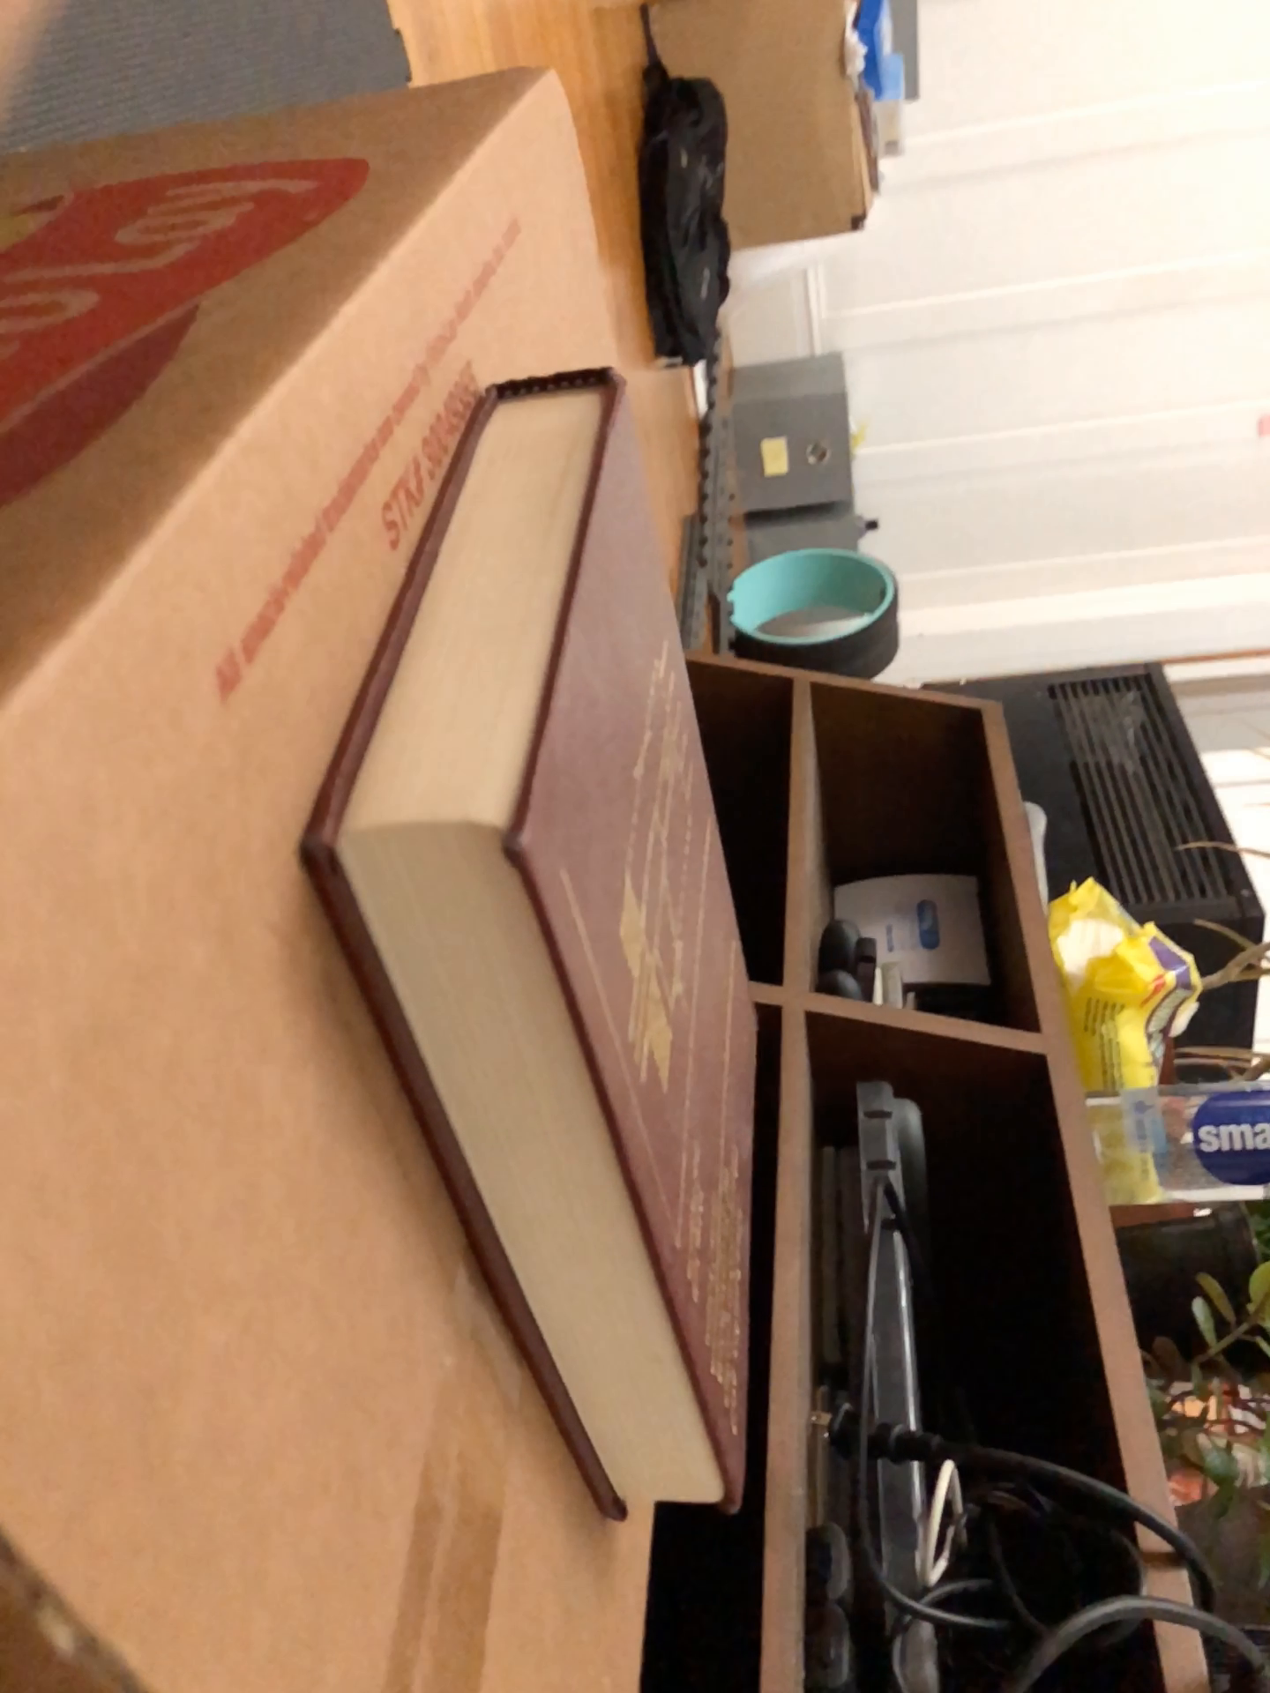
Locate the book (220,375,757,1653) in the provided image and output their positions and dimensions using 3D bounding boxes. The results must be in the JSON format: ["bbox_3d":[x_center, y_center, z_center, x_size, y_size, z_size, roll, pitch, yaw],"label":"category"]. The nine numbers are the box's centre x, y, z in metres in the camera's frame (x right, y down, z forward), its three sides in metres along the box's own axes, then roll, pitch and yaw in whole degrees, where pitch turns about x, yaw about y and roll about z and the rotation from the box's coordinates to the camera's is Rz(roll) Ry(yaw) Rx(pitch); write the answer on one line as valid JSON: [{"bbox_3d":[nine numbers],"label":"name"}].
[{"bbox_3d":[-0.007,0.044,0.335,0.190,0.040,0.240,-83,164,-48],"label":"book"}]
